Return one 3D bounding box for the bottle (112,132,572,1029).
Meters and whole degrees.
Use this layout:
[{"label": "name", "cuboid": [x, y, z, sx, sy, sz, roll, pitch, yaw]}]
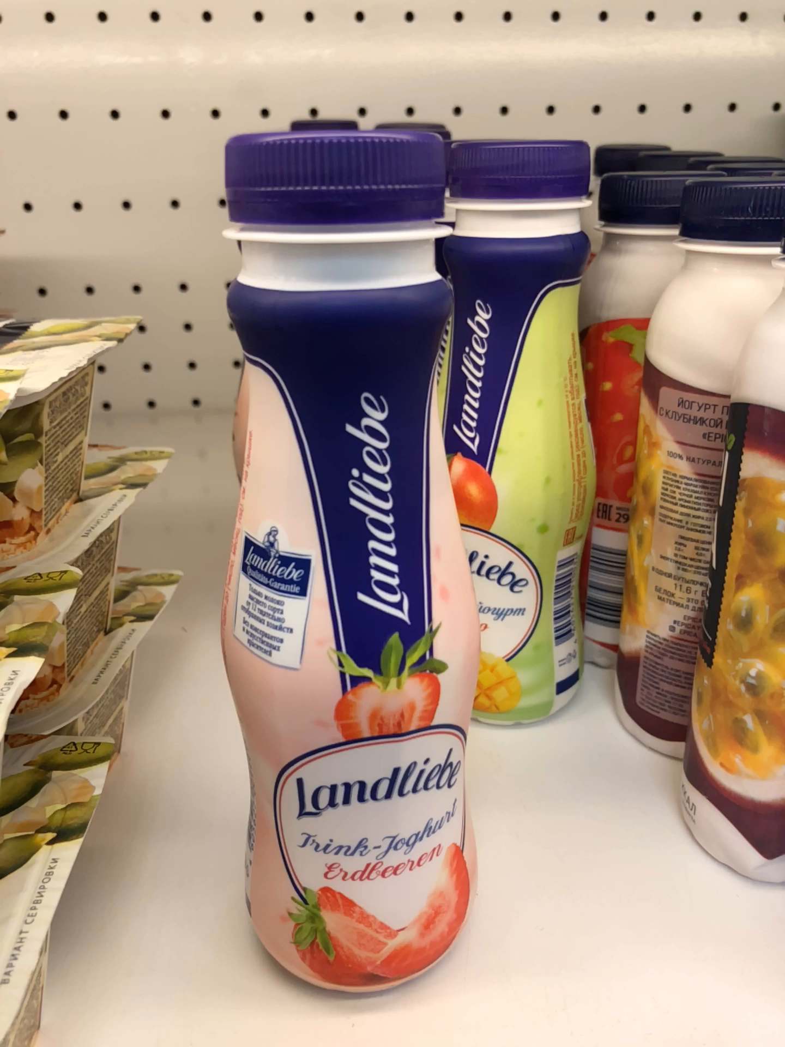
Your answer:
[{"label": "bottle", "cuboid": [-0.009, 0.014, 0.202, 0.070, 0.189, 0.070, -1, 23, 0]}]
